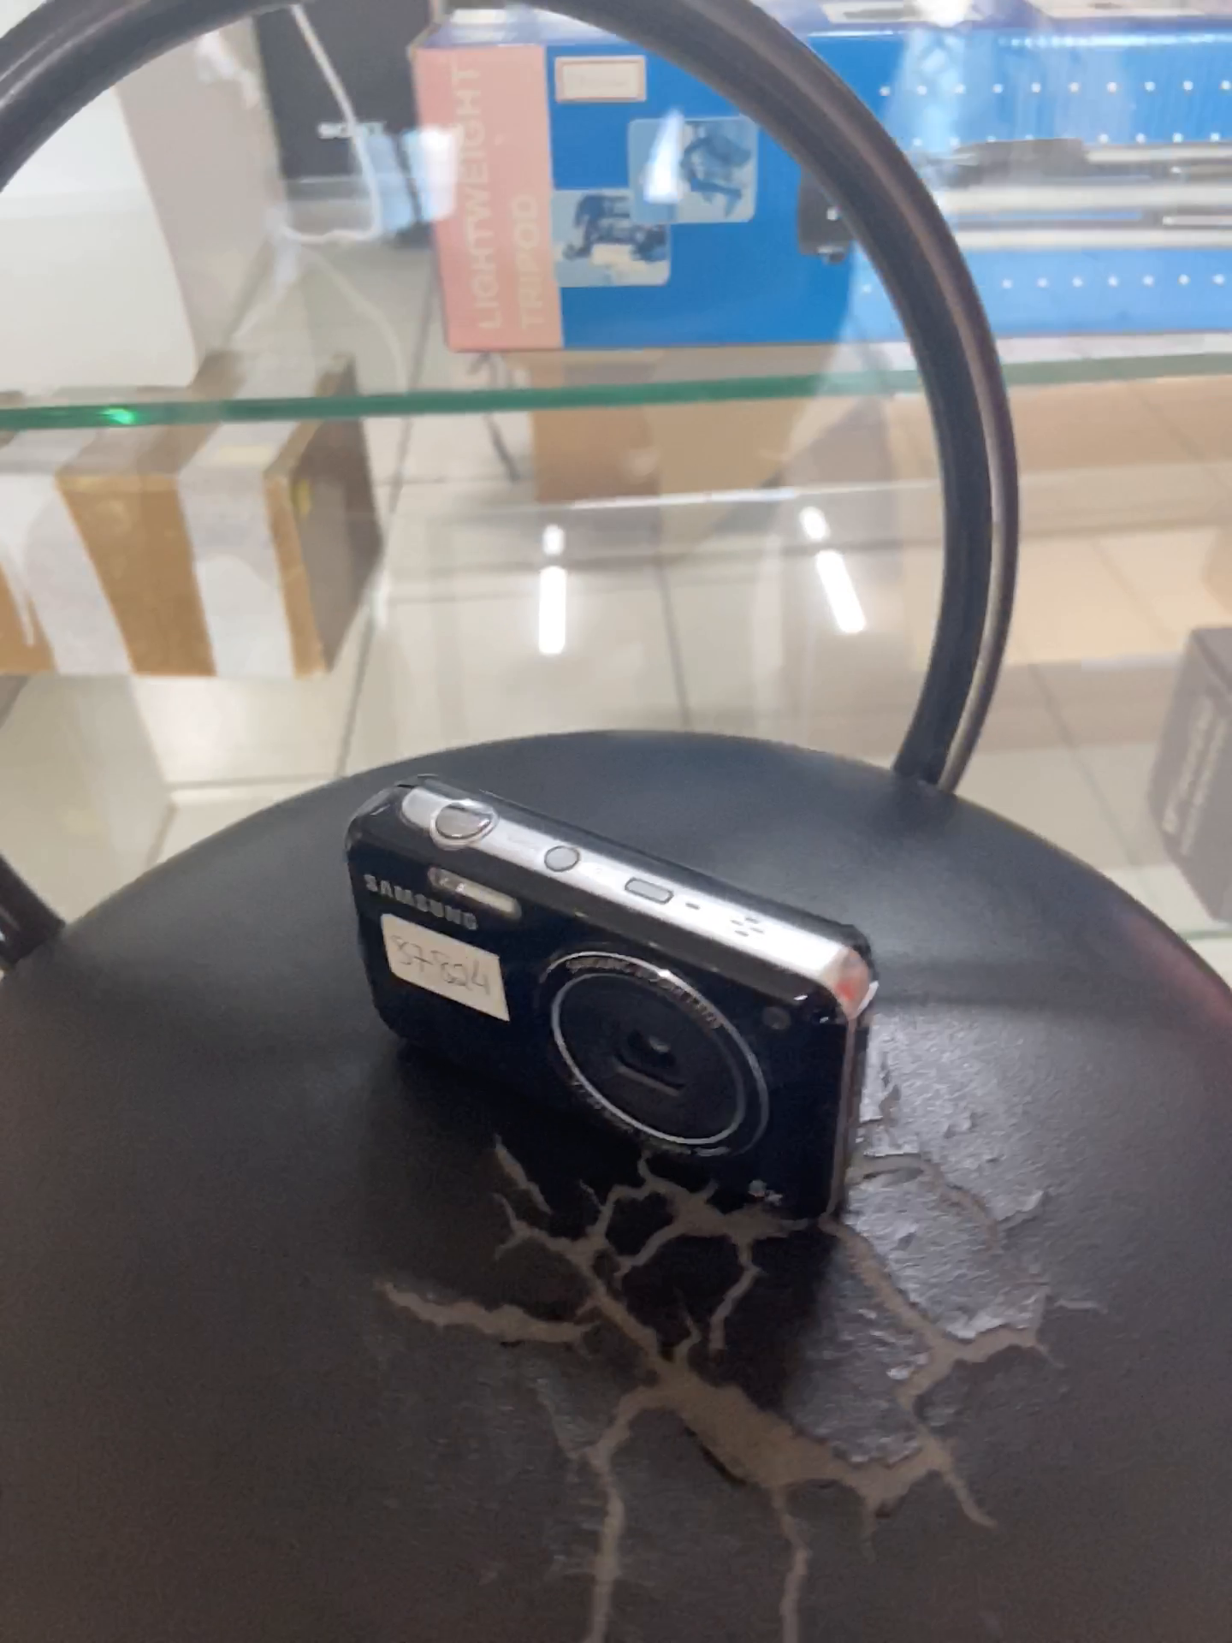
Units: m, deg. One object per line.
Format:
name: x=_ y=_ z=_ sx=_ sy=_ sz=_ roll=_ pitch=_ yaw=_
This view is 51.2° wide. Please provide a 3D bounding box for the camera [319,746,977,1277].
camera: x=0.003 y=0.028 z=0.214 sx=0.100 sy=0.050 sz=0.030 roll=18 pitch=43 yaw=25
